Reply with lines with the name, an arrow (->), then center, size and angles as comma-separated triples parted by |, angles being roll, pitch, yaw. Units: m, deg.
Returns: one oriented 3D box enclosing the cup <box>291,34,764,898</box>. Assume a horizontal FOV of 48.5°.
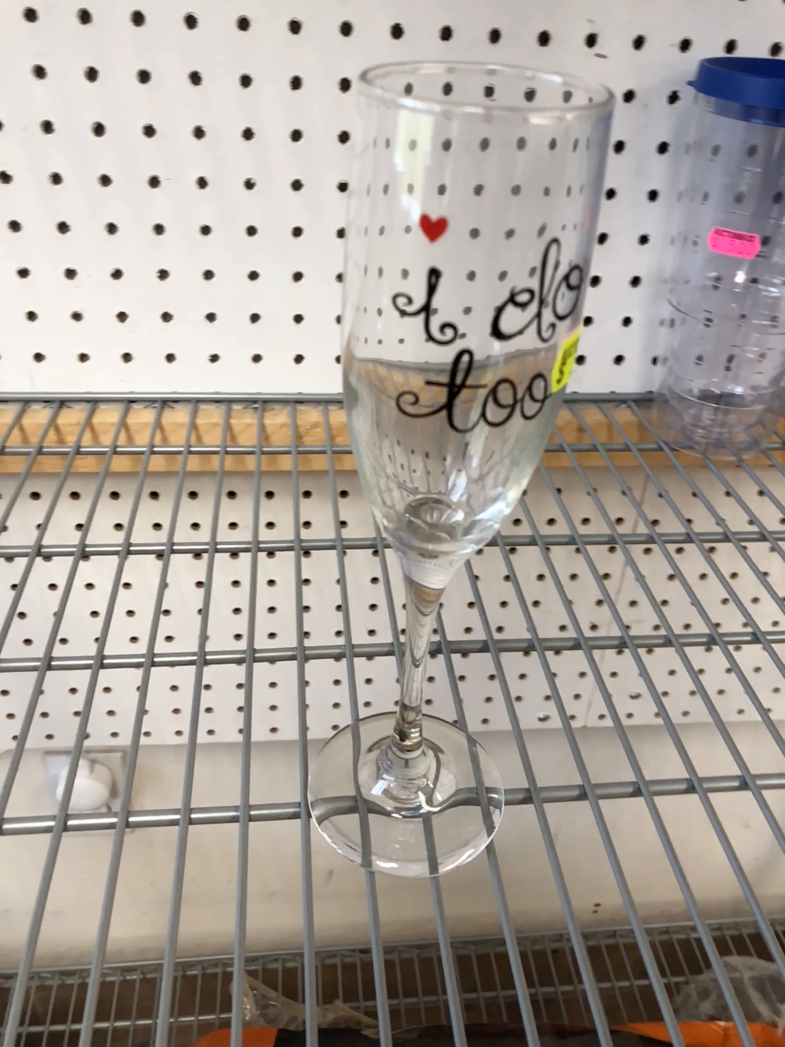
cup -> 0.015, -0.003, 0.226 | 0.070, 0.209, 0.070 | 3, 34, -2
